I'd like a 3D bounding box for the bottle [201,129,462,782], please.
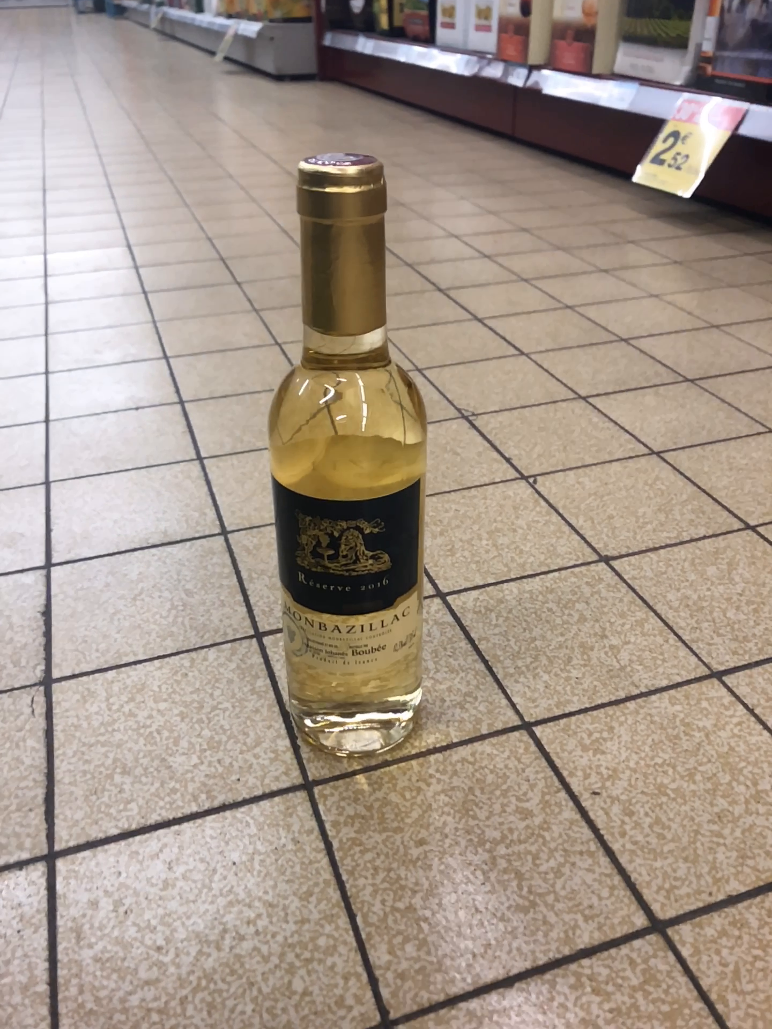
[{"bbox_3d":[-0.012,-0.012,0.324,0.070,0.239,0.070,0,31,0],"label":"bottle"}]
